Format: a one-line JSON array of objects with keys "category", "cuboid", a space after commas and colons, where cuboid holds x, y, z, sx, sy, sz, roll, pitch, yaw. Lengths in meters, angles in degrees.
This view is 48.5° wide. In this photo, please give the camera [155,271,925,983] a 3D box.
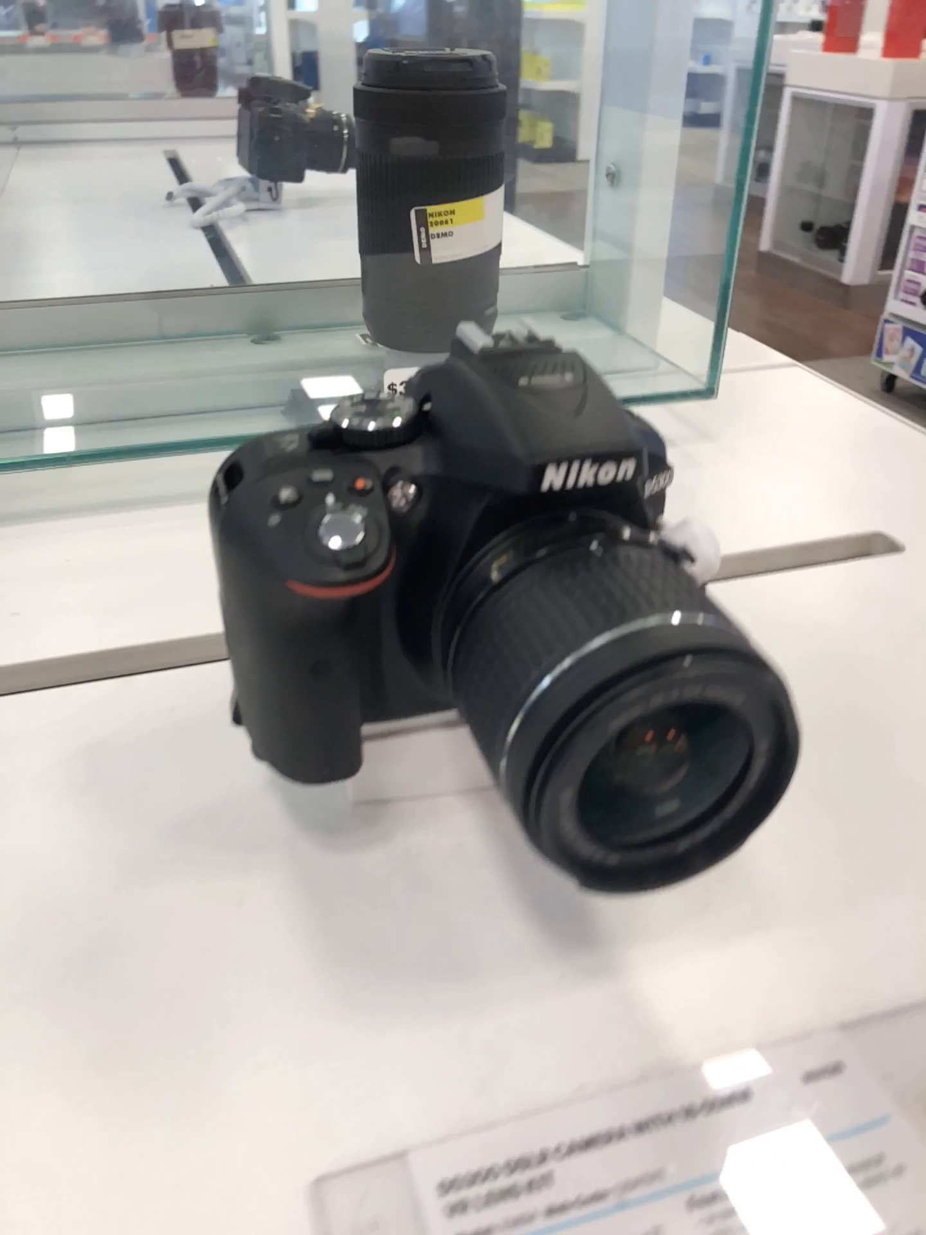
[{"category": "camera", "cuboid": [0.003, -0.015, 0.254, 0.130, 0.100, 0.140, -9, 32, -16]}]
